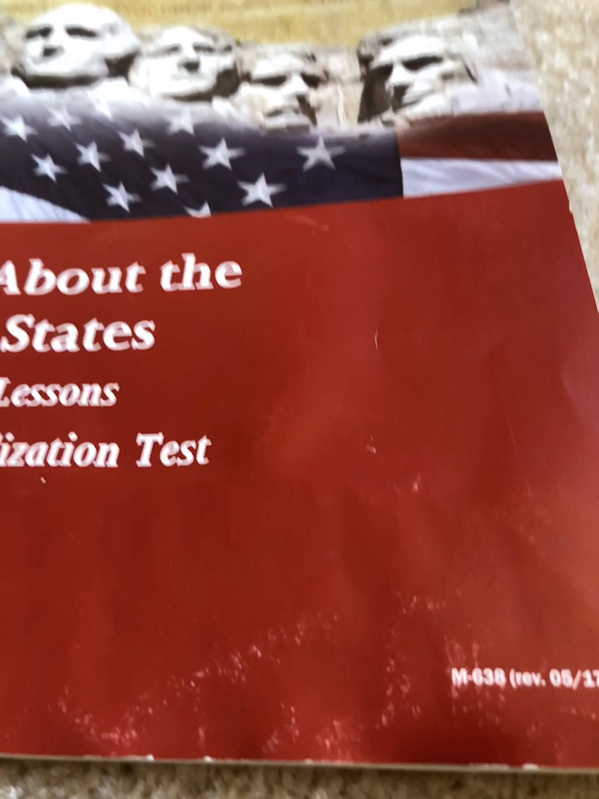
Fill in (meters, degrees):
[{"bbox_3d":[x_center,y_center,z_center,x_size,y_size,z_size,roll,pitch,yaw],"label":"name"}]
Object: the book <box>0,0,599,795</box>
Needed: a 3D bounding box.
[{"bbox_3d":[-0.032,-0.048,0.195,0.208,0.028,0.274,-2,57,5],"label":"book"}]
